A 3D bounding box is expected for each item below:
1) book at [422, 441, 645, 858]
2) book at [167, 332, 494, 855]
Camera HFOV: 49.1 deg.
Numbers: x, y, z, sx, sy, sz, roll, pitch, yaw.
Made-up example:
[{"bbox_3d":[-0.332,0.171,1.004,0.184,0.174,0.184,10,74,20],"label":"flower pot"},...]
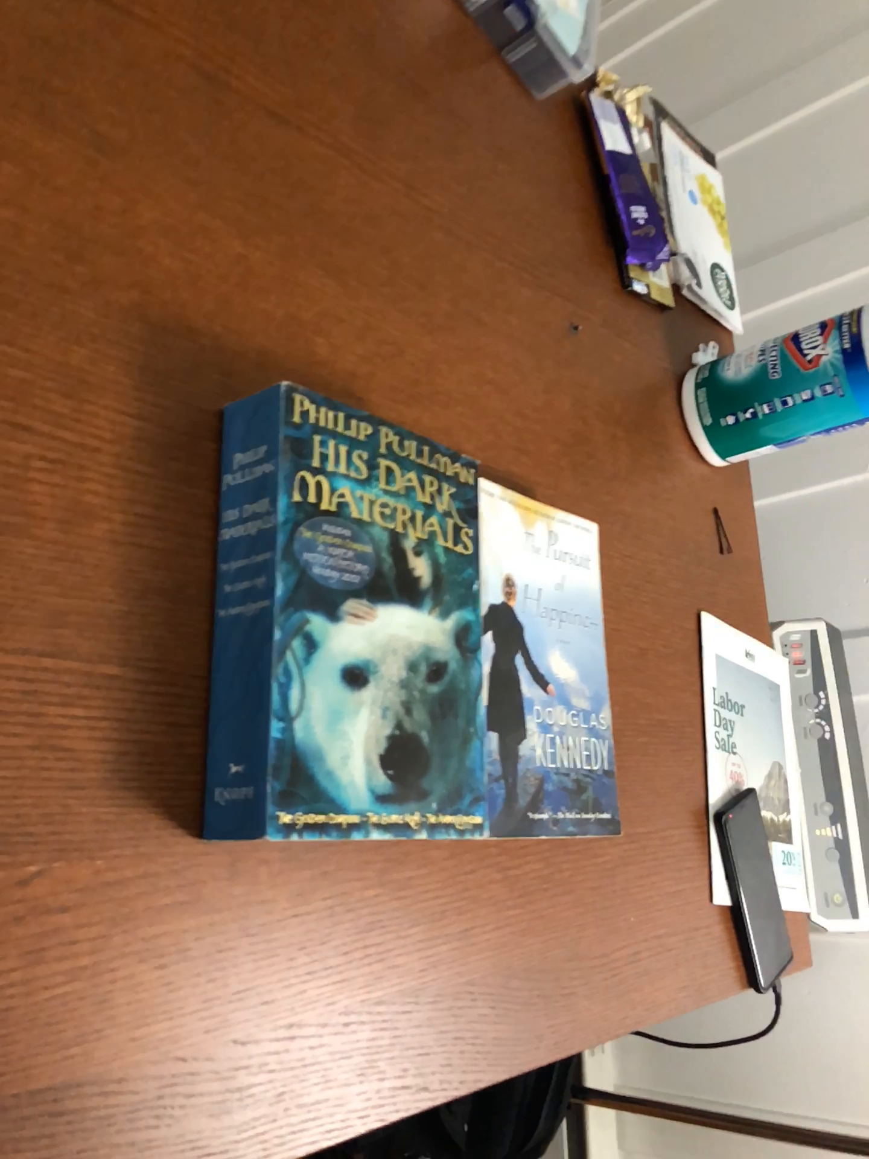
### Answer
[{"bbox_3d":[0.069,0.054,0.641,0.181,0.040,0.250,15,68,-47],"label":"book"},{"bbox_3d":[-0.048,0.018,0.523,0.181,0.050,0.250,15,68,-47],"label":"book"}]
